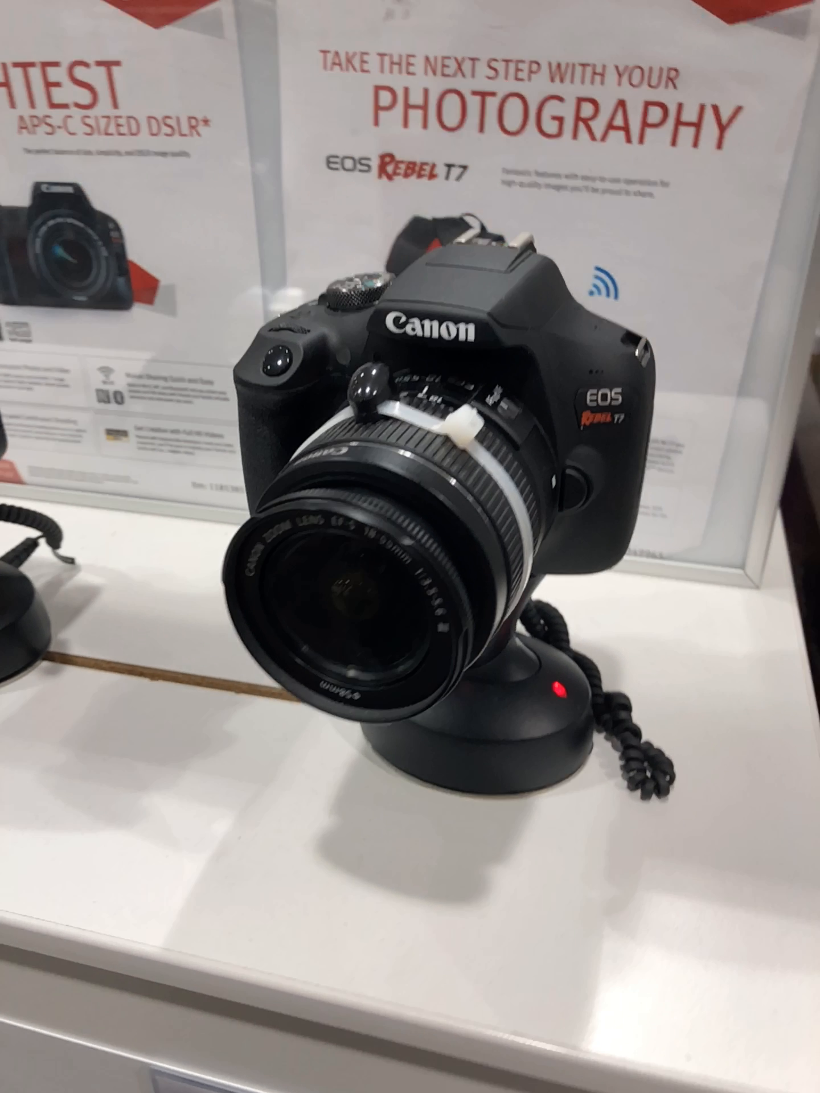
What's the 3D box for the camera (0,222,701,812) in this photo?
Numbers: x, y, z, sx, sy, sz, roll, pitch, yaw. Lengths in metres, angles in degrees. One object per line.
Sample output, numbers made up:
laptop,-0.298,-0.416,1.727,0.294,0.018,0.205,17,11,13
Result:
camera,-0.002,-0.027,0.261,0.140,0.090,0.151,9,32,17
